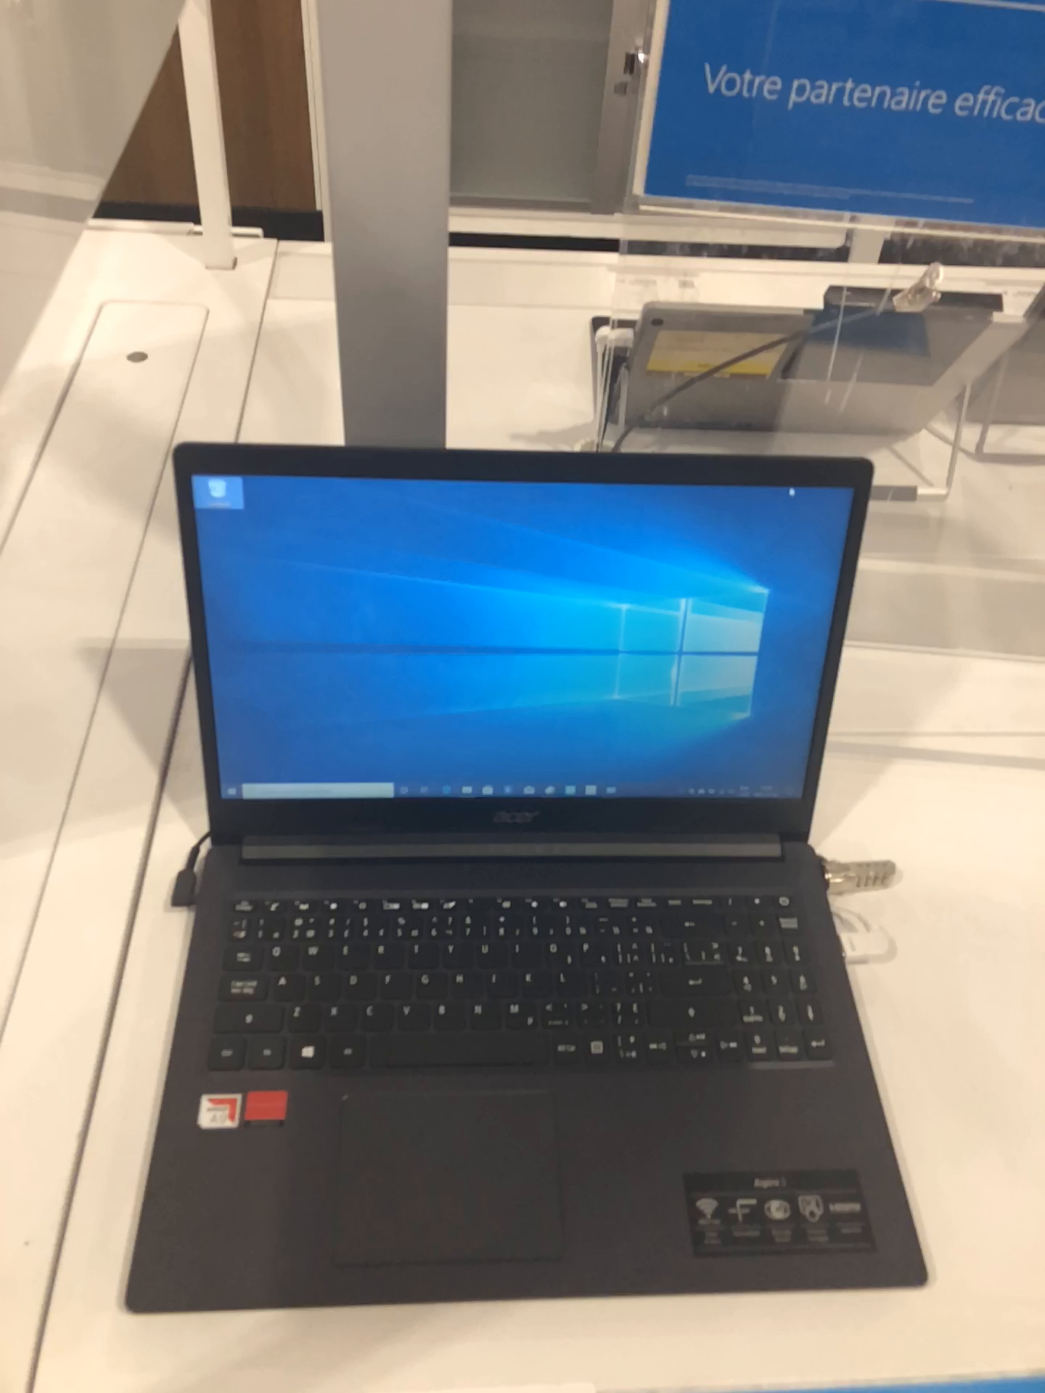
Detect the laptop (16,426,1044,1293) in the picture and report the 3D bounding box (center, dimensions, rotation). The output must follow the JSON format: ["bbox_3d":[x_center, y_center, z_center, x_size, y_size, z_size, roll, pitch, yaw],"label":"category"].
[{"bbox_3d":[0.005,0.069,0.570,0.367,0.212,0.351,1,49,-4],"label":"laptop"}]
